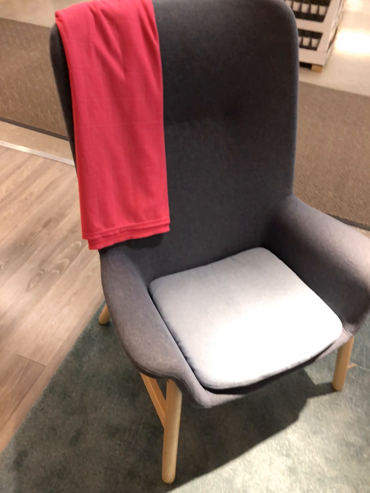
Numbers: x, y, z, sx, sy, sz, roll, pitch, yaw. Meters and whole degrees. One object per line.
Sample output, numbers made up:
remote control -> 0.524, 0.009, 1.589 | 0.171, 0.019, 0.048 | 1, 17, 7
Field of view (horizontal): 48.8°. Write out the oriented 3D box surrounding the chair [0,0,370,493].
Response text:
chair -> 0.143, -0.006, 1.037 | 0.791, 0.996, 0.702 | -18, 49, -20
